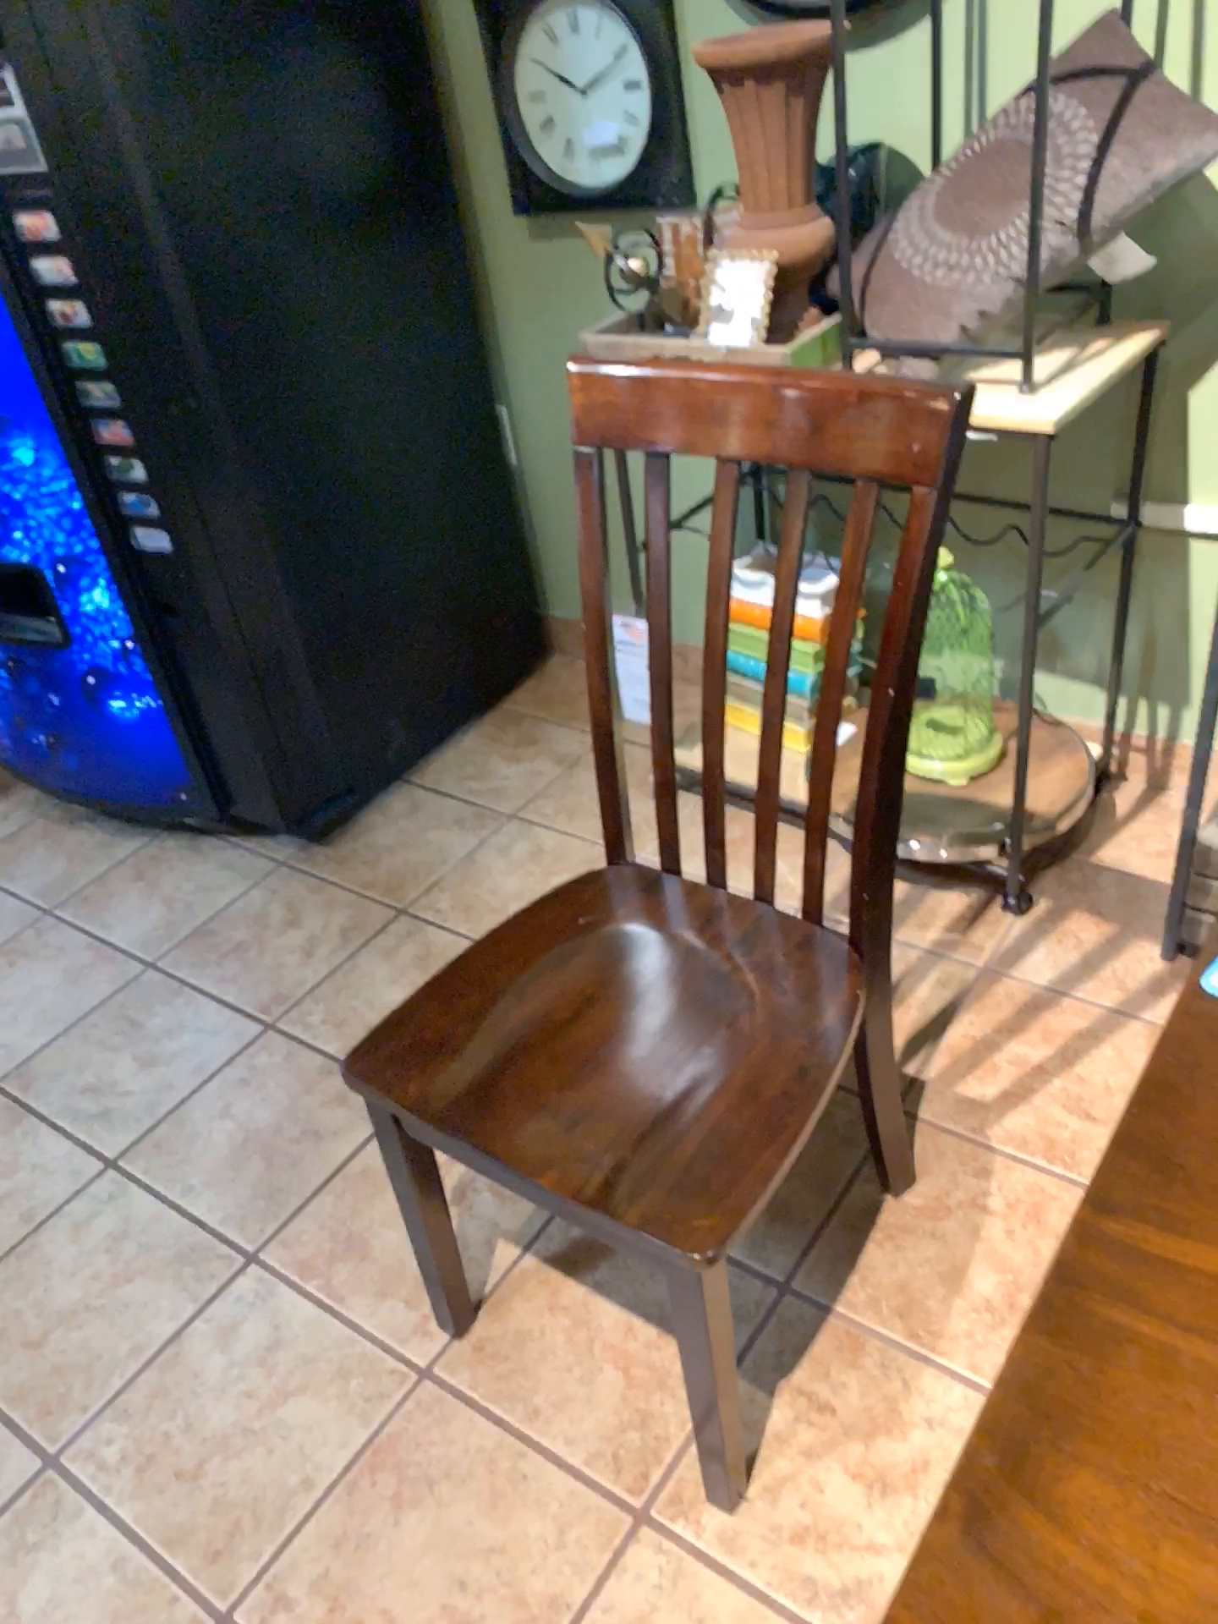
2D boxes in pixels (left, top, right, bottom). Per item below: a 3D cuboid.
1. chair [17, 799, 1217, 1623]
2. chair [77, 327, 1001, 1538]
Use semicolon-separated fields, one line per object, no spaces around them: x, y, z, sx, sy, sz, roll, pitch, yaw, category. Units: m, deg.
0.341;0.581;0.488;0.462;0.946;0.576;12;40;27;chair
0.032;0.102;1.234;0.462;0.936;0.585;17;43;32;chair
